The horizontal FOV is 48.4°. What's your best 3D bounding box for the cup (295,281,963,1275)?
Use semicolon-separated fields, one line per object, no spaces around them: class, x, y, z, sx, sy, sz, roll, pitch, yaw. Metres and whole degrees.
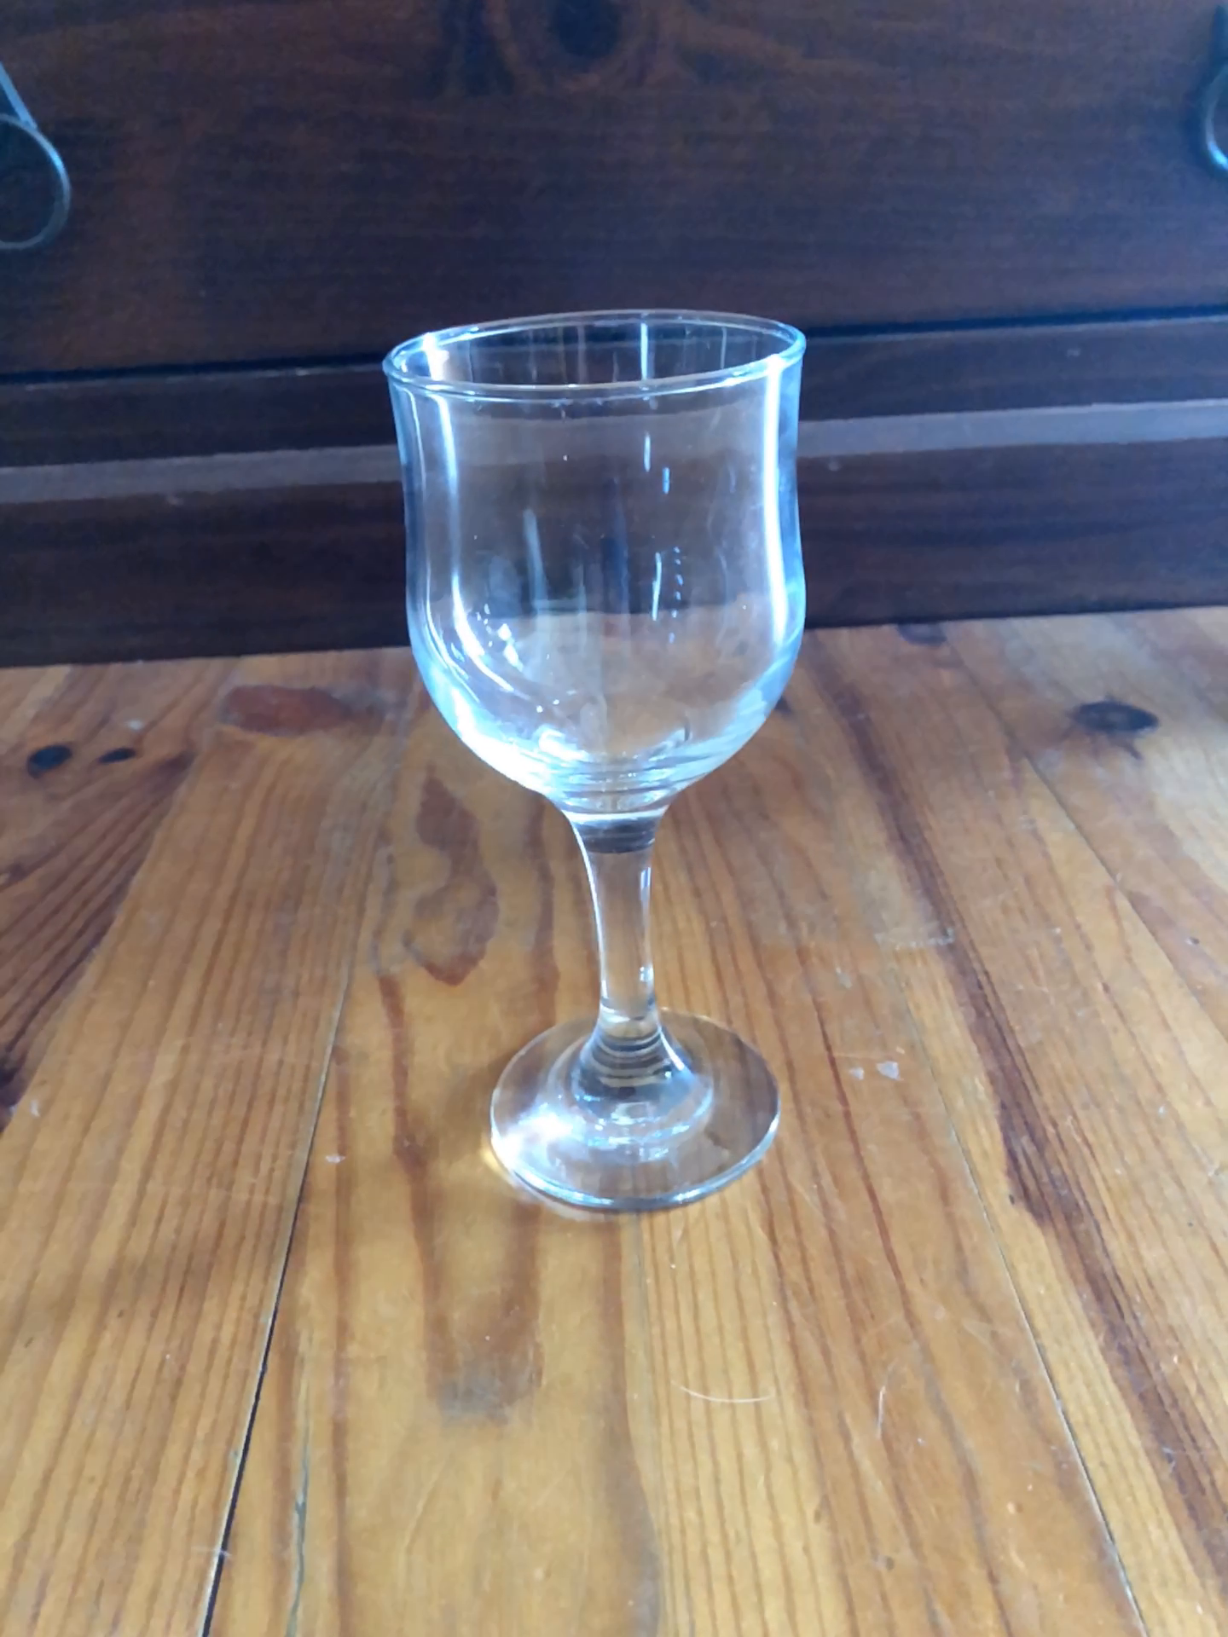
cup;0.004;-0.012;0.262;0.083;0.157;0.076;-3;28;1
